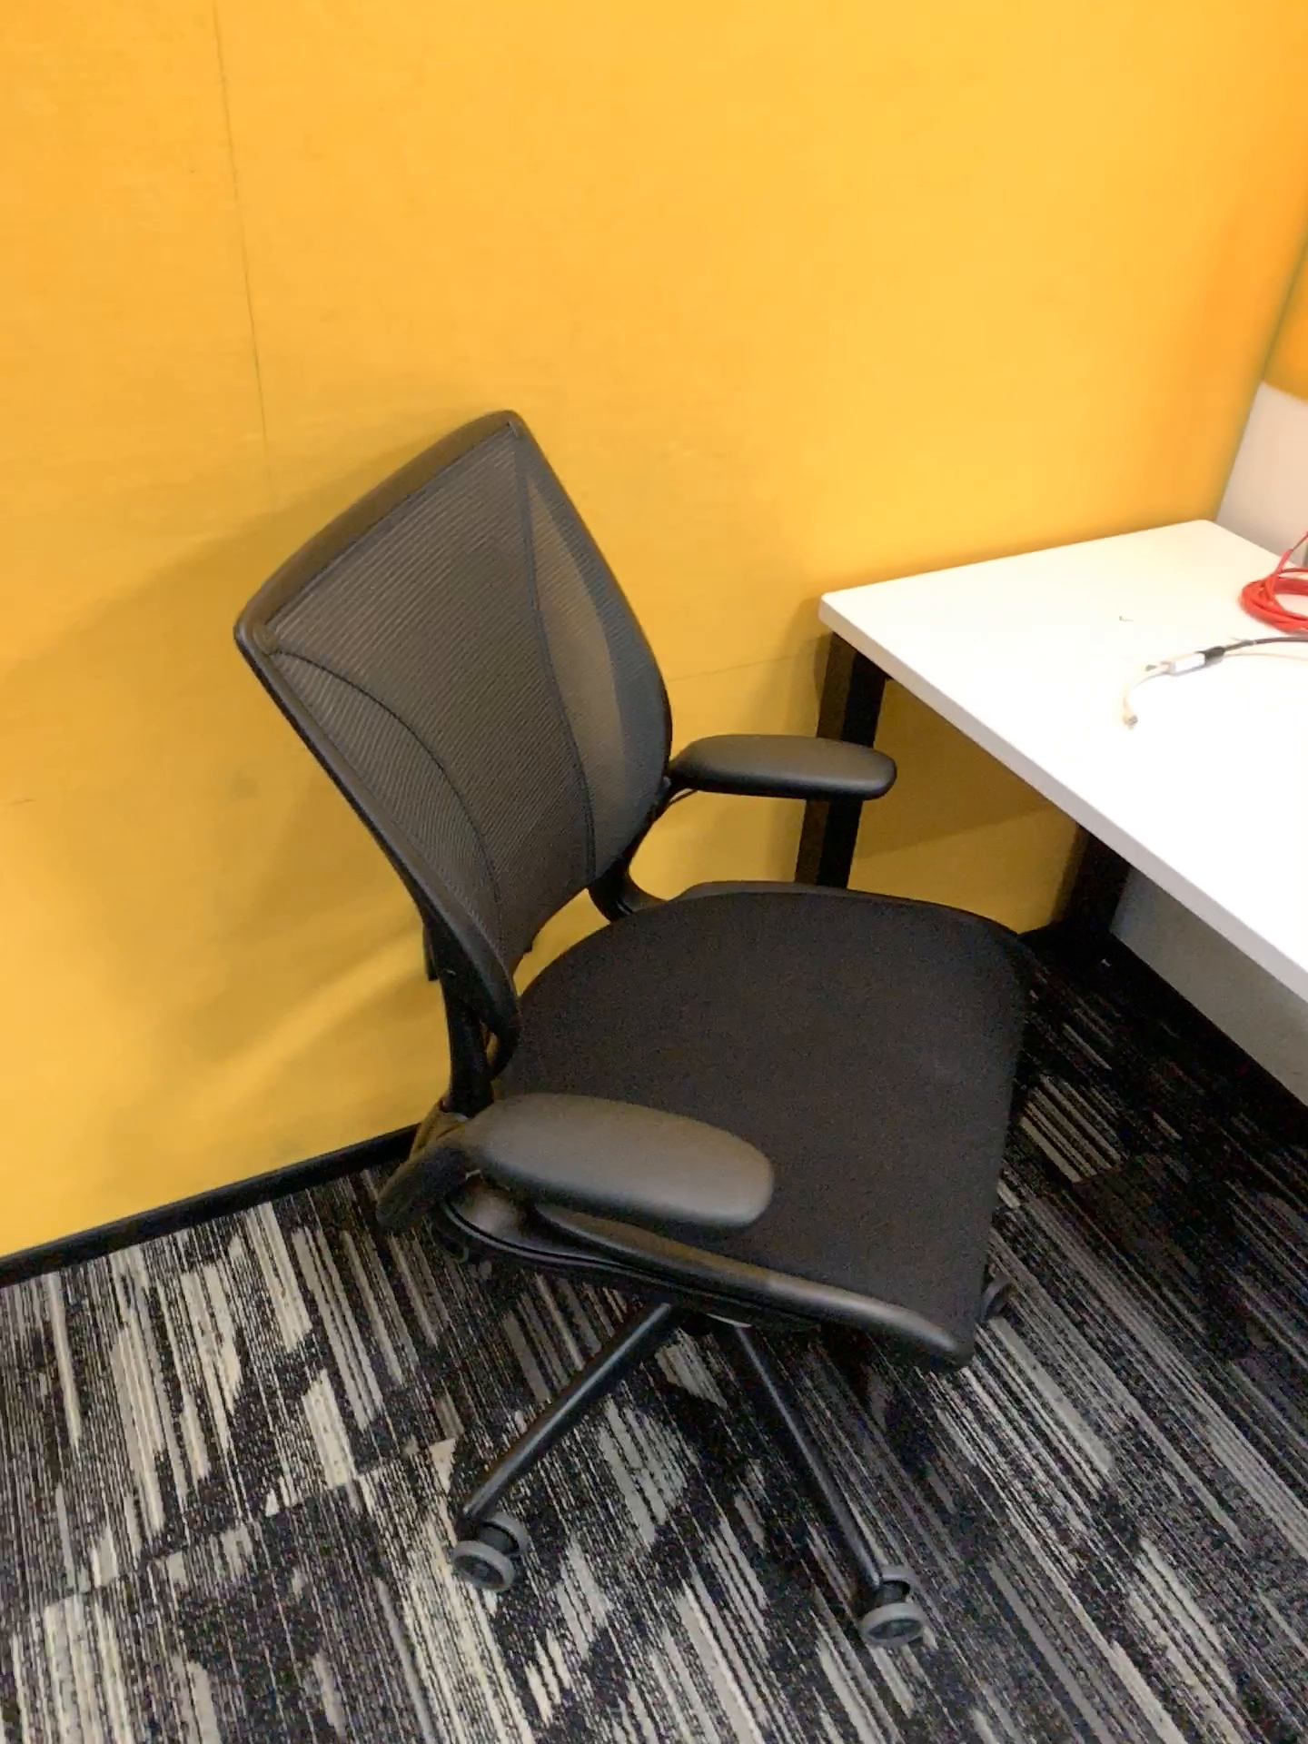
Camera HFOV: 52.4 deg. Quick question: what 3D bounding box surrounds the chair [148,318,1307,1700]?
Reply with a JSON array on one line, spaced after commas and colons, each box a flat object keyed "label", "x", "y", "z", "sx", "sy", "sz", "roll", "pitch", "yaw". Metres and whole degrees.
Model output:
[{"label": "chair", "x": 0.080, "y": 0.096, "z": 1.036, "sx": 0.570, "sy": 0.813, "sz": 0.545, "roll": 11, "pitch": 37, "yaw": 10}]
